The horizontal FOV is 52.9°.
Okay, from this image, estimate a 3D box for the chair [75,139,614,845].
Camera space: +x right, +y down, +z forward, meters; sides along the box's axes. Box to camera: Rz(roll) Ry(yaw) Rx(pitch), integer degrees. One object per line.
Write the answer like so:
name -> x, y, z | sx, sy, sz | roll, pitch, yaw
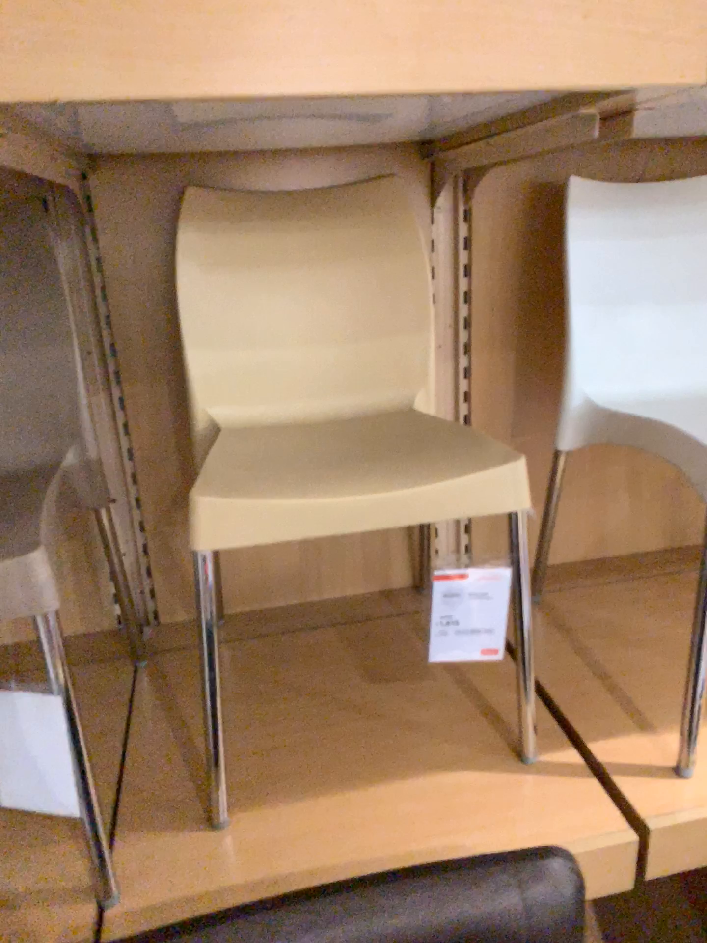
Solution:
chair -> -0.051, -0.031, 1.094 | 0.540, 0.807, 0.592 | -5, 19, -13
